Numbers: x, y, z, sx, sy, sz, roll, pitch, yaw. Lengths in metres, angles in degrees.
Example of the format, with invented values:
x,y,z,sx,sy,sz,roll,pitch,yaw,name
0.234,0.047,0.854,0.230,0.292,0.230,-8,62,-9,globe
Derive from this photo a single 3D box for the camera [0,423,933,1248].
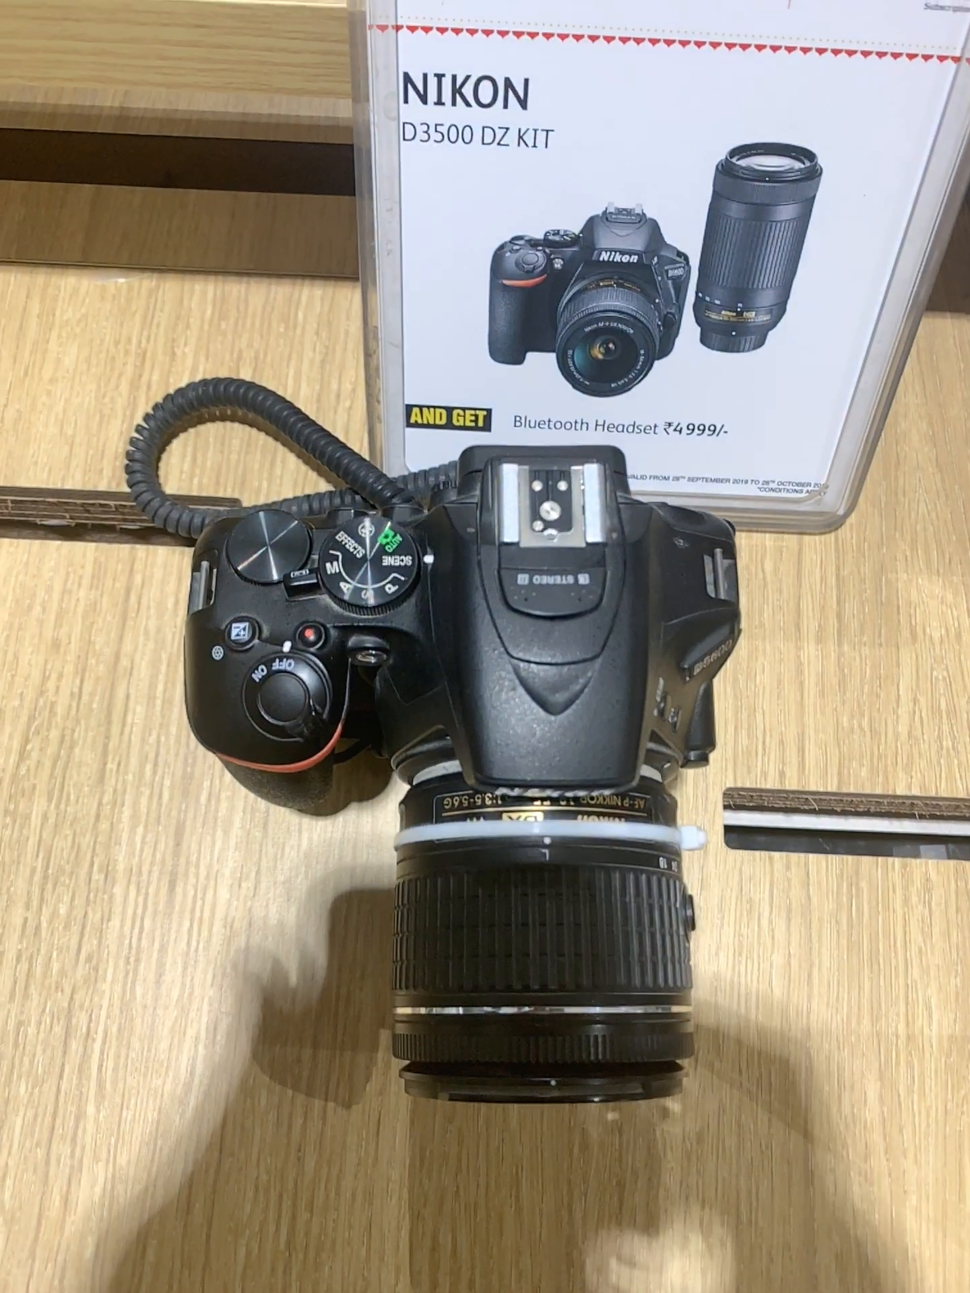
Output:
x,y,z,sx,sy,sz,roll,pitch,yaw,name
-0.004,0.037,0.199,0.130,0.100,0.120,2,71,1,camera
